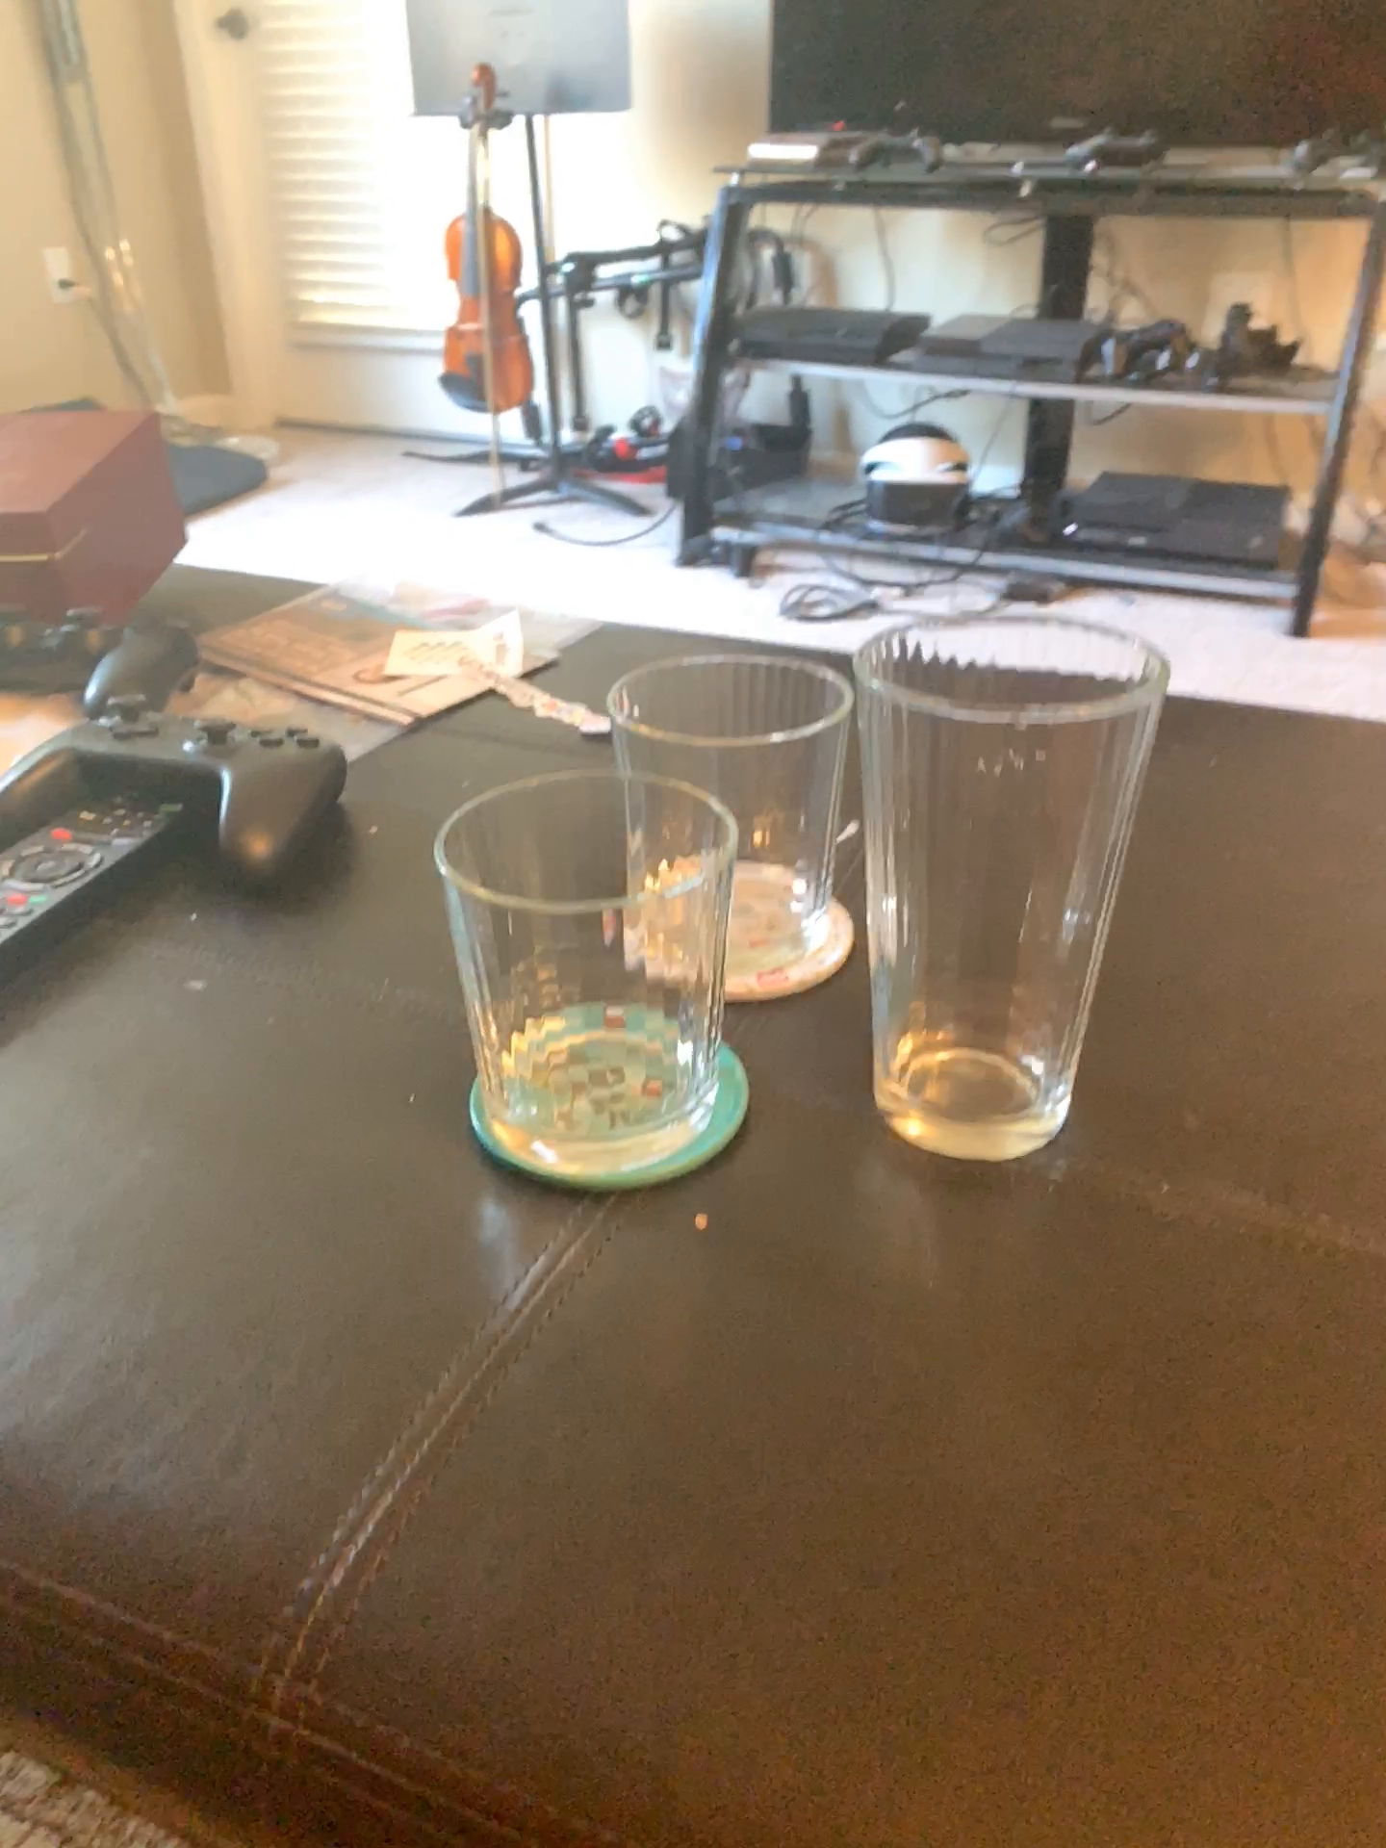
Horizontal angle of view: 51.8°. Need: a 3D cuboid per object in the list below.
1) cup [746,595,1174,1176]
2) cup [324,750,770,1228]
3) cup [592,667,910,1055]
[{"bbox_3d":[0.078,-0.015,0.443,0.090,0.139,0.080,-24,37,-35],"label":"cup"},{"bbox_3d":[-0.044,0.014,0.446,0.090,0.089,0.100,-24,37,-34],"label":"cup"},{"bbox_3d":[0.021,-0.028,0.566,0.080,0.109,0.090,-24,37,-34],"label":"cup"}]
